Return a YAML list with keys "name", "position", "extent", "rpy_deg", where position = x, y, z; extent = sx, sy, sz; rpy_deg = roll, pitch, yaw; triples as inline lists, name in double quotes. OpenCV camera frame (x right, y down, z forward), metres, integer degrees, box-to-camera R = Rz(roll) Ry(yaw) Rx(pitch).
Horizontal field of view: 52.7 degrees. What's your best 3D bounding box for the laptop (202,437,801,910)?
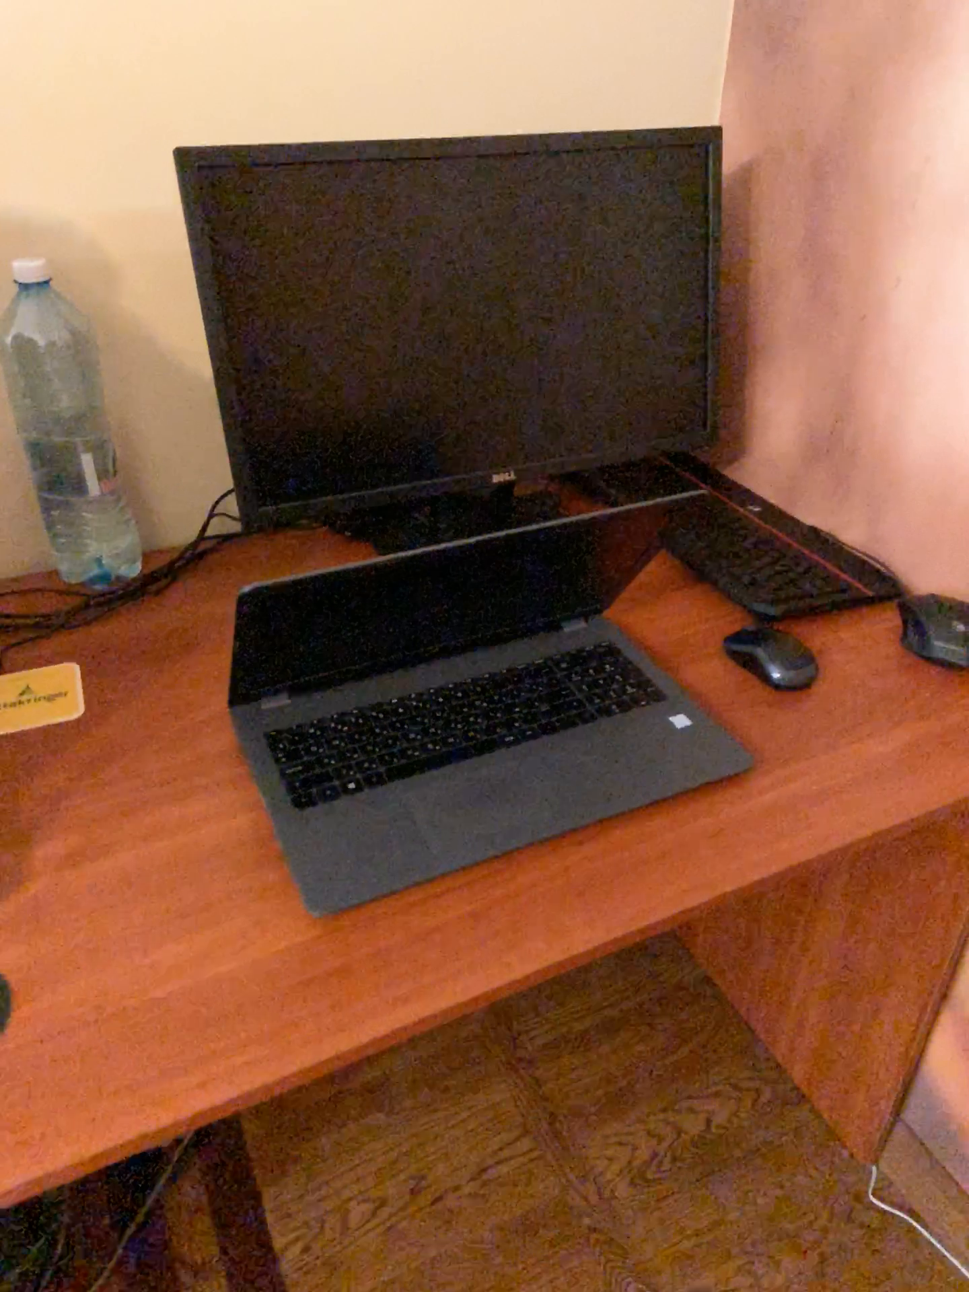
- name: "laptop"
  position: [0.003, -0.004, 0.792]
  extent: [0.385, 0.193, 0.246]
  rpy_deg: [-14, 36, -21]
